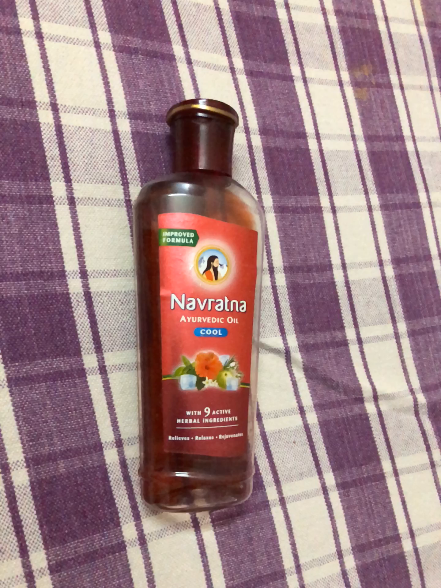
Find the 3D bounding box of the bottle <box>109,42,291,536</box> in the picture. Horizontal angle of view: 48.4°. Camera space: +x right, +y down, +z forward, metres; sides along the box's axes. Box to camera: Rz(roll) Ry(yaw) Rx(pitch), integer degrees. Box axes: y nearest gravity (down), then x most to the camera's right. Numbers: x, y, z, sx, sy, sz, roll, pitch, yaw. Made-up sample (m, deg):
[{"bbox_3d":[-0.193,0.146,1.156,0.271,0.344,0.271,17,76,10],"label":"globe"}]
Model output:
[{"bbox_3d":[-0.011,-0.003,0.234,0.070,0.050,0.200,3,84,-22],"label":"bottle"}]
